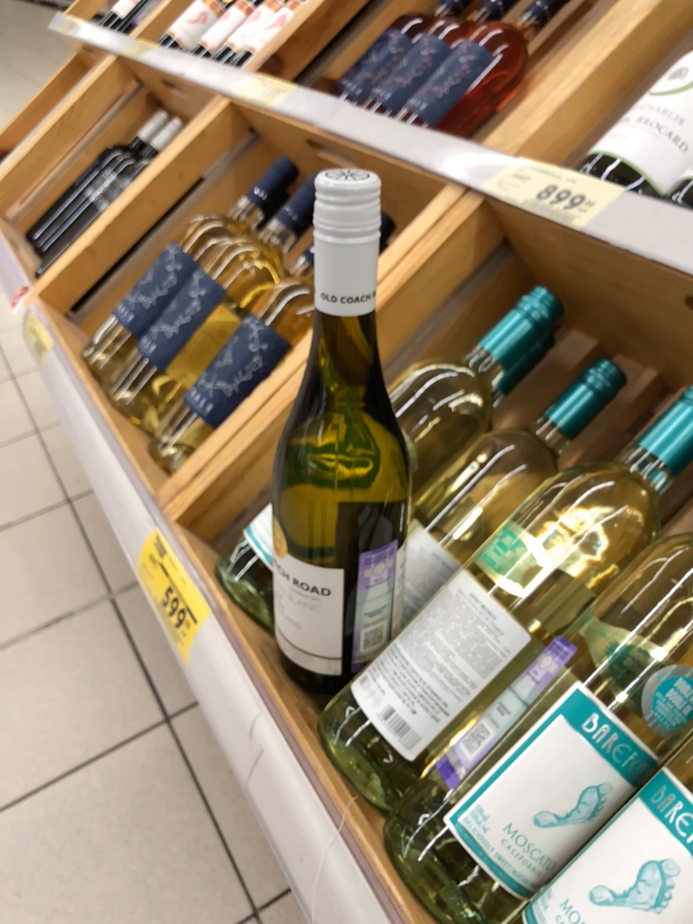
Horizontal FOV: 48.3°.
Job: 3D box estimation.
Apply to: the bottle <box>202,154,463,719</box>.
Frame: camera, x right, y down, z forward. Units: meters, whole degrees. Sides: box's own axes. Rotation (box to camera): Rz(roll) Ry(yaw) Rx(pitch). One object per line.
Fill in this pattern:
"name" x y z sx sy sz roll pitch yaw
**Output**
"bottle" -0.005 -0.001 0.419 0.088 0.290 0.078 -18 37 -23
